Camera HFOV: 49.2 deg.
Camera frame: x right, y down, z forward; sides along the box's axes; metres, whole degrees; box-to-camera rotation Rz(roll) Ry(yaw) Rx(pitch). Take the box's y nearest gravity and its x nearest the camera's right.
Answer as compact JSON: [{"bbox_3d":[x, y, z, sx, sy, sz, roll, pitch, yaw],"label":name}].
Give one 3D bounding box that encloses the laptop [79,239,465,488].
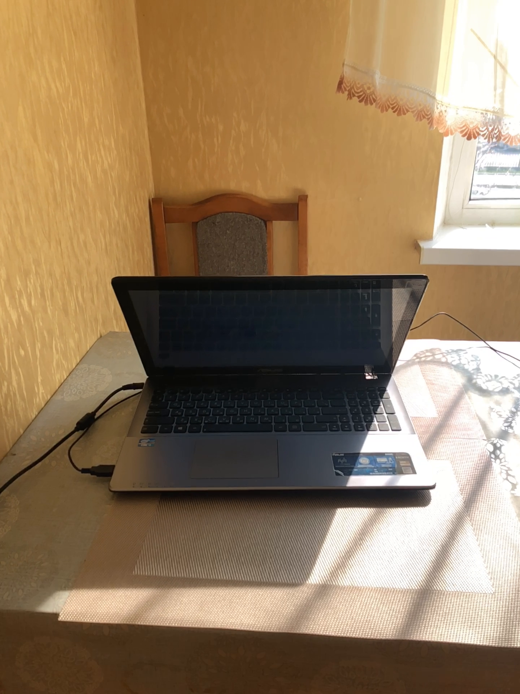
[{"bbox_3d":[0.012,0.006,0.685,0.362,0.200,0.245,-1,26,1],"label":"laptop"}]
